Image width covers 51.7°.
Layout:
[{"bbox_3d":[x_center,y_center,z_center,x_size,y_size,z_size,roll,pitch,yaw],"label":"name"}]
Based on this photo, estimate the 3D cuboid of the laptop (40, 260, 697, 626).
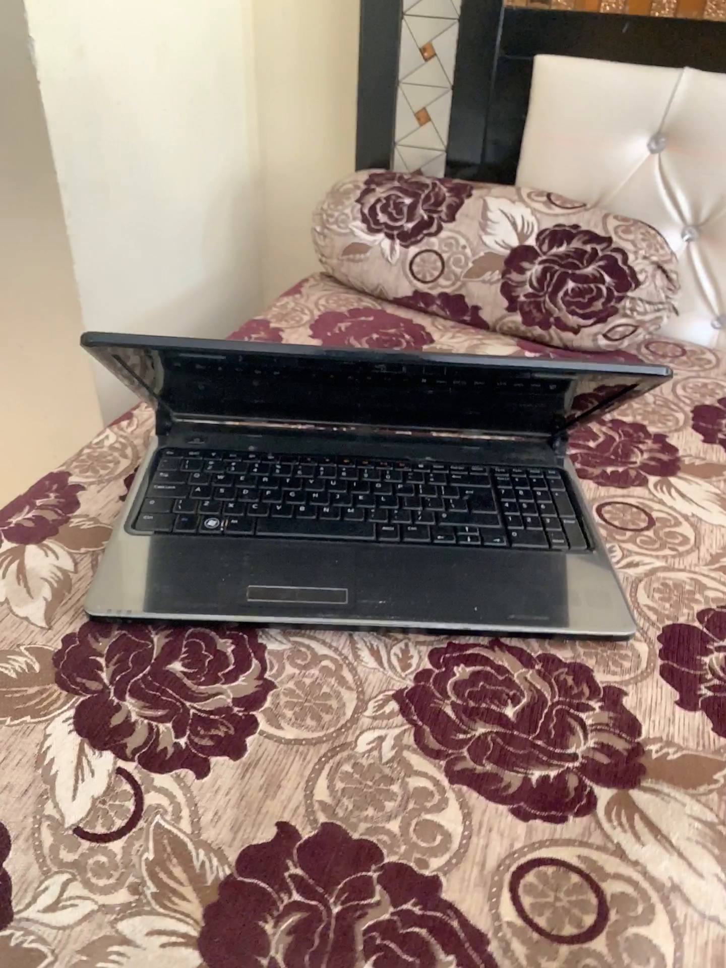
[{"bbox_3d":[0.001,-0.040,0.547,0.363,0.154,0.222,2,36,-1],"label":"laptop"}]
